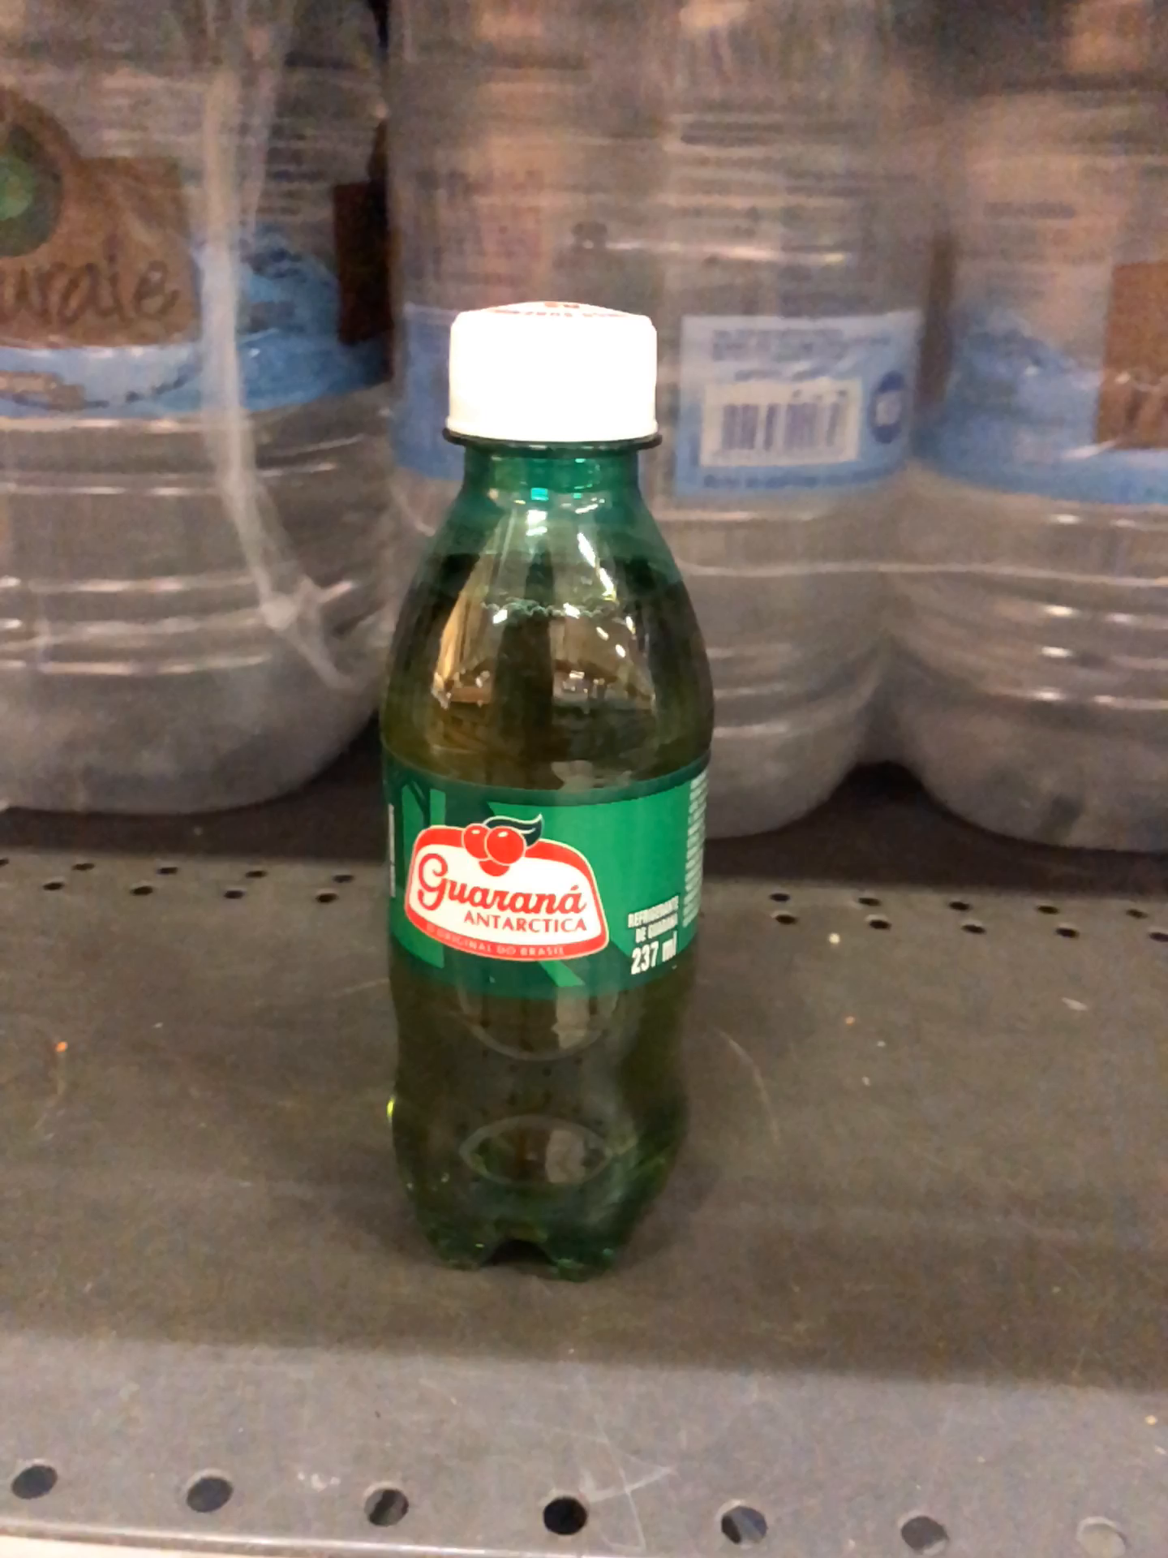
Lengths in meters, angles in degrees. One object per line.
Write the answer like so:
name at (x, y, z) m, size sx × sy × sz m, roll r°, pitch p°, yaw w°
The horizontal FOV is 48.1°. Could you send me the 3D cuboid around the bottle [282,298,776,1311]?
bottle at (-0.005, 0.003, 0.215) m, size 0.060 × 0.149 × 0.060 m, roll 1°, pitch 22°, yaw -1°
